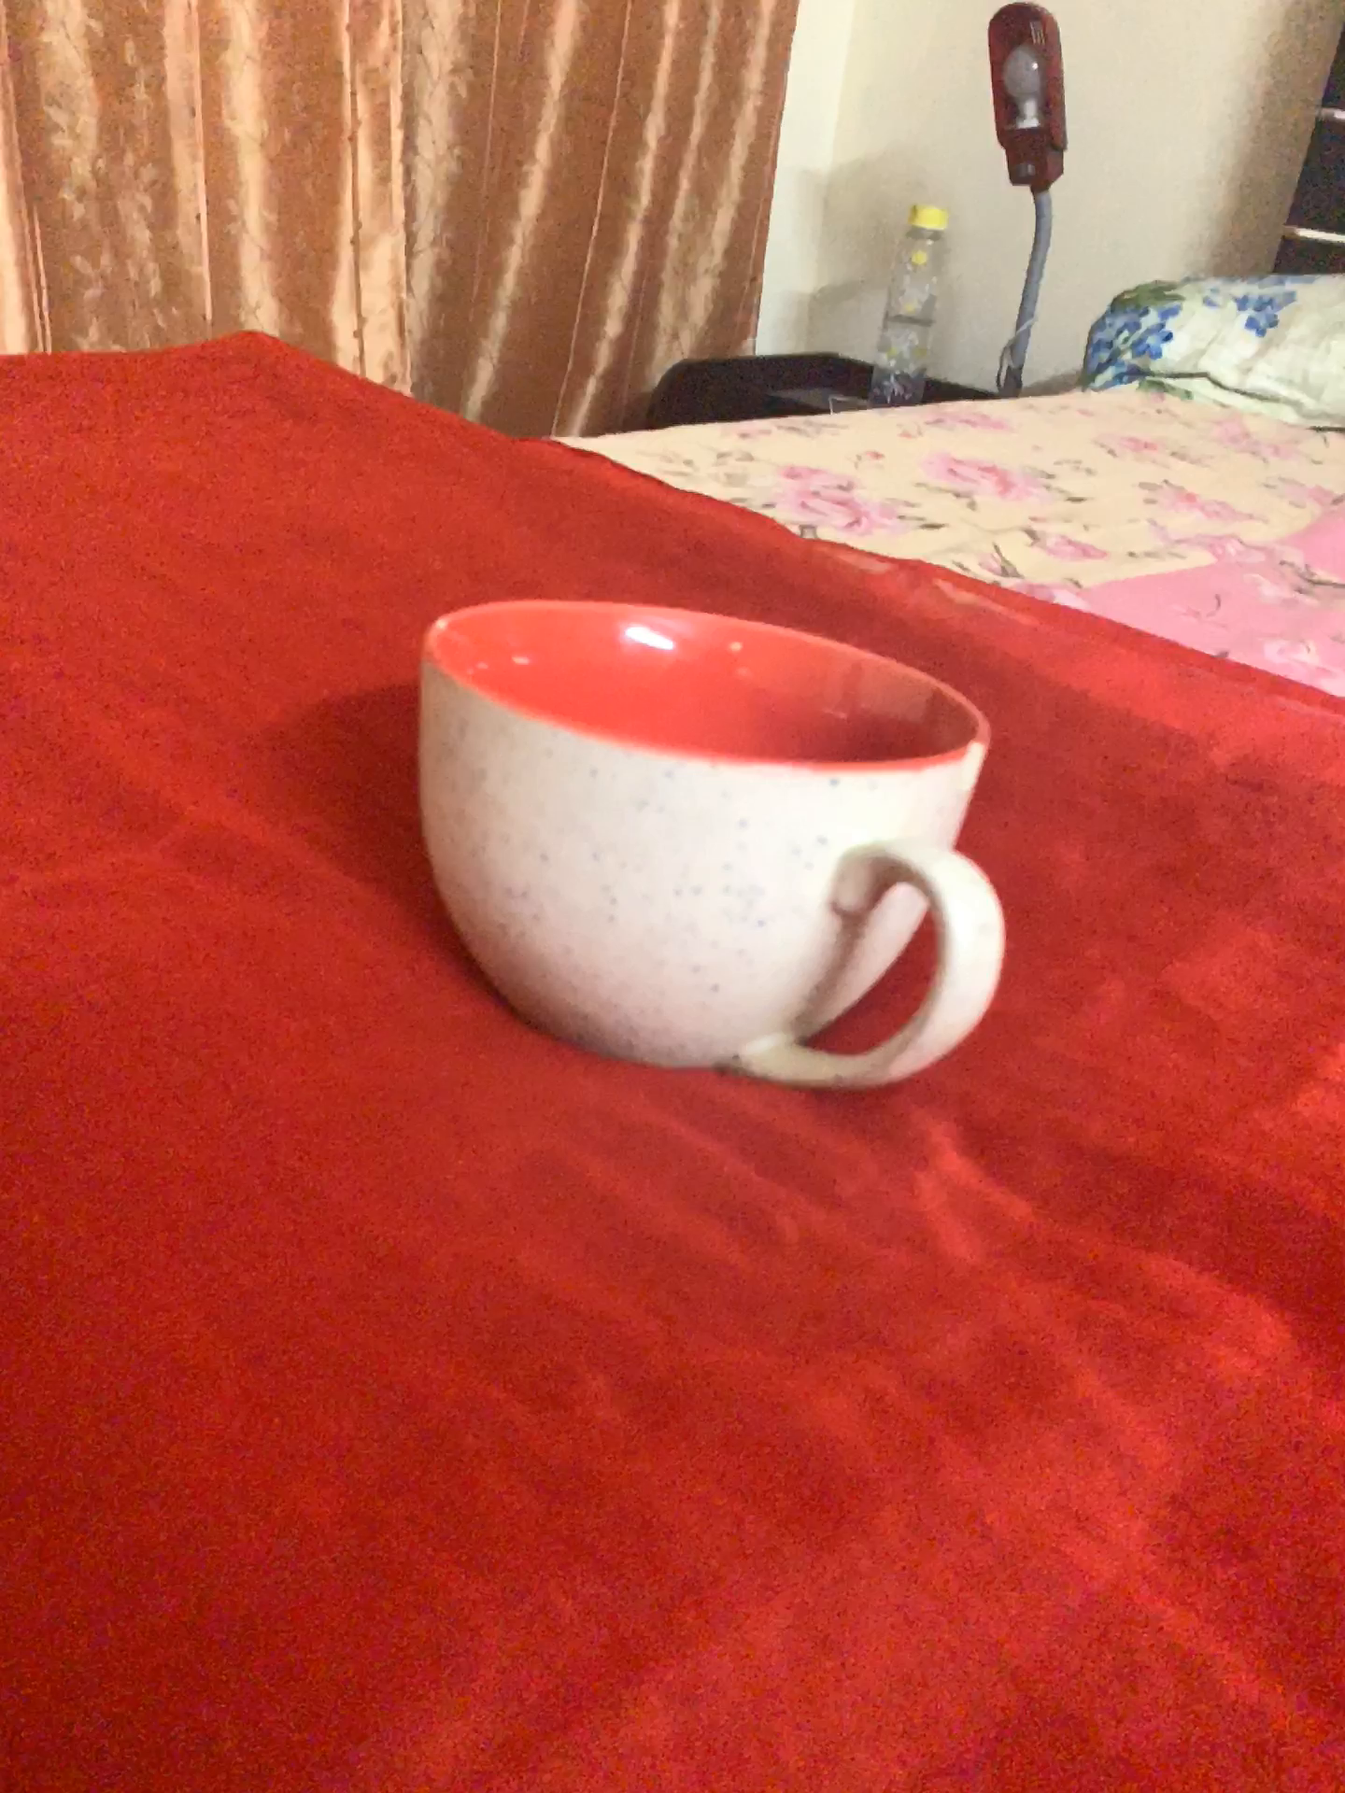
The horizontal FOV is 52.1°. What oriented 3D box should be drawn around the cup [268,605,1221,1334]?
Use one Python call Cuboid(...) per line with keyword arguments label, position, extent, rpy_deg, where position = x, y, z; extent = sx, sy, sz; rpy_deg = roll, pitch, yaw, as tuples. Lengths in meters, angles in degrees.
Cuboid(label="cup", position=(0.005, -0.004, 0.284), extent=(0.130, 0.069, 0.141), rpy_deg=(8, 26, -4))
